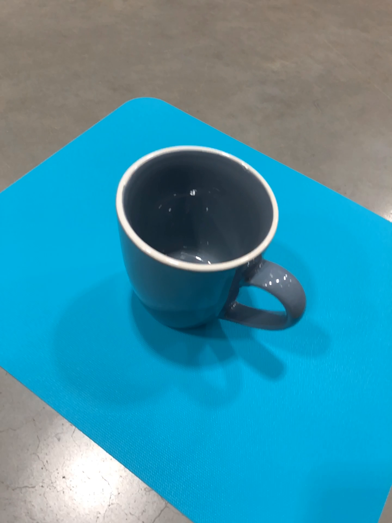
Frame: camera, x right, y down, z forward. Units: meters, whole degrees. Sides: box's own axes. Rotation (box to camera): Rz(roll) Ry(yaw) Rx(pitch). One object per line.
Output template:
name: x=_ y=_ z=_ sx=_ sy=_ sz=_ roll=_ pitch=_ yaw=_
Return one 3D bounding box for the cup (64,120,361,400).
cup: x=0.008 y=-0.003 z=0.261 sx=0.130 sy=0.080 sz=0.090 roll=29 pitch=56 yaw=12
